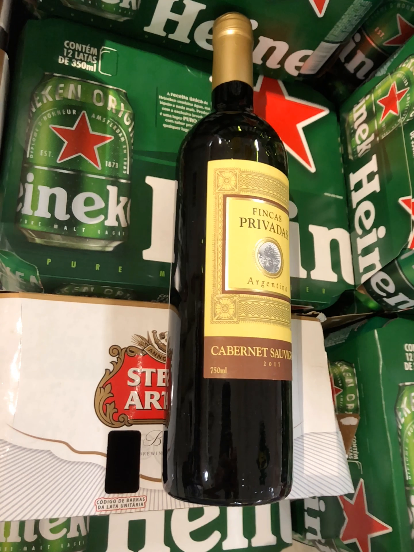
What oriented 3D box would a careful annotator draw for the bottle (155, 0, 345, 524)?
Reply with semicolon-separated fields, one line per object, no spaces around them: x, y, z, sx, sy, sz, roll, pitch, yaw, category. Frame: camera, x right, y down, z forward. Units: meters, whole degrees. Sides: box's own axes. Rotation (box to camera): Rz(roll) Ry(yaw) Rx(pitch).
0.022;-0.038;0.290;0.080;0.060;0.331;7;71;-20;bottle
